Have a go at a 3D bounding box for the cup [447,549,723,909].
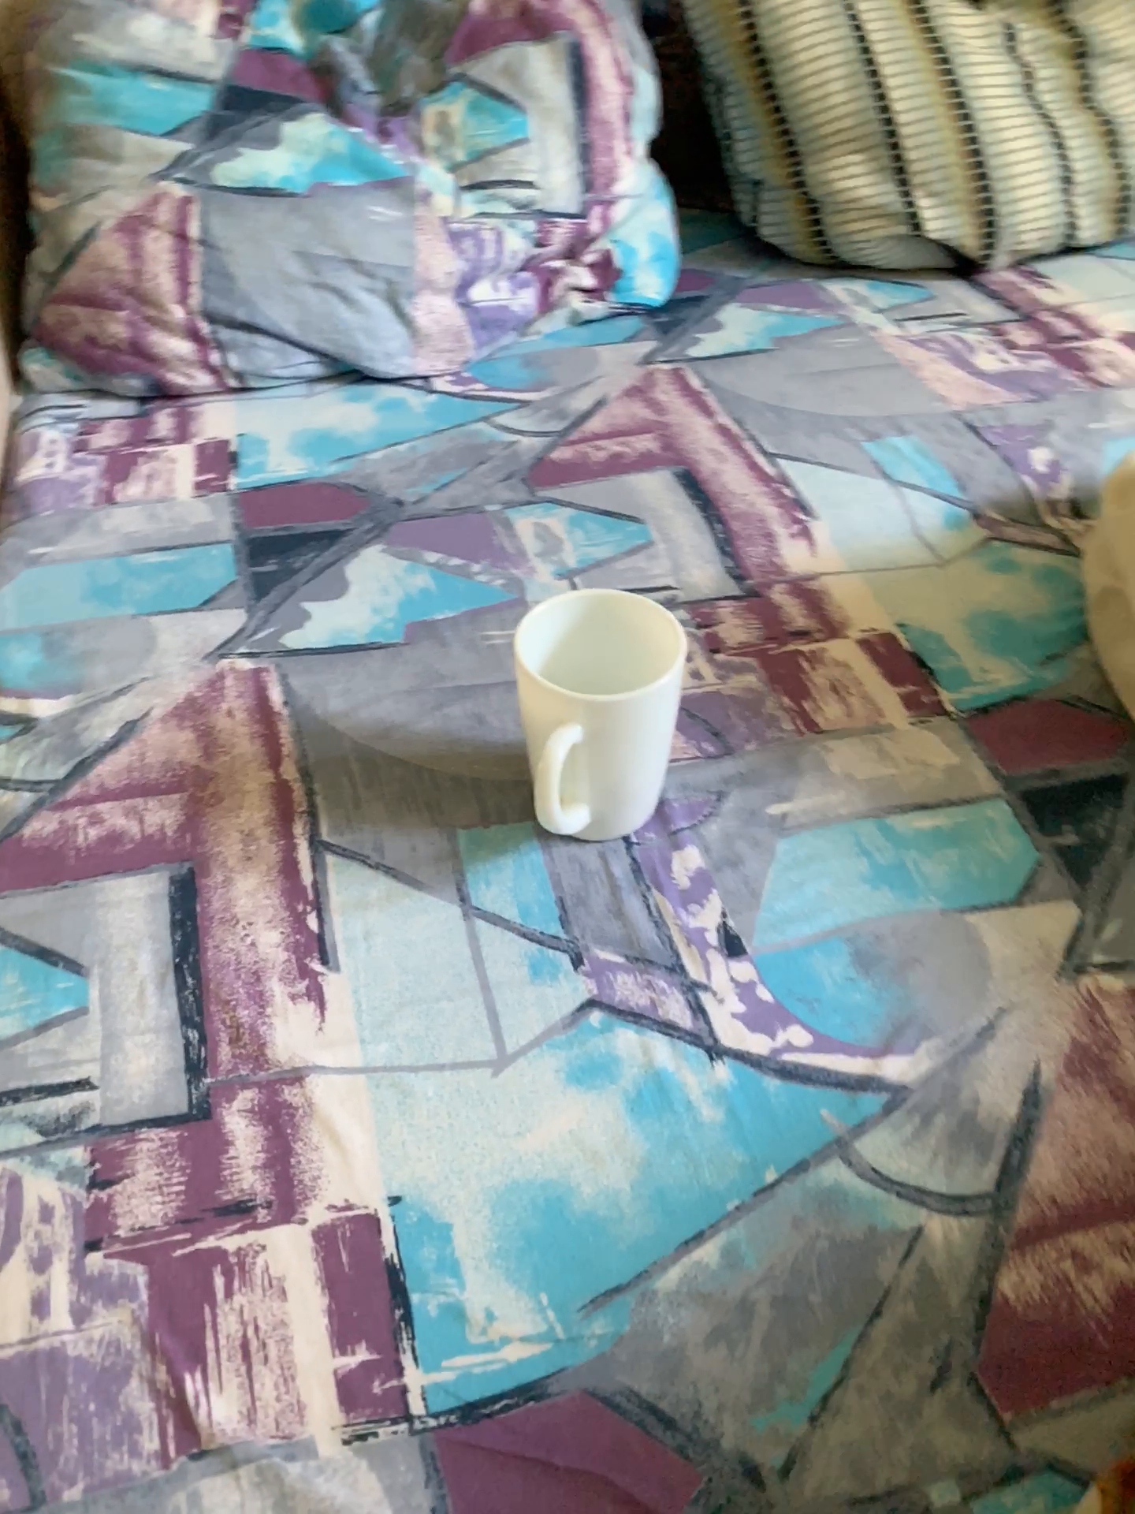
[{"bbox_3d":[0.013,-0.016,0.542,0.080,0.099,0.121,15,47,19],"label":"cup"}]
